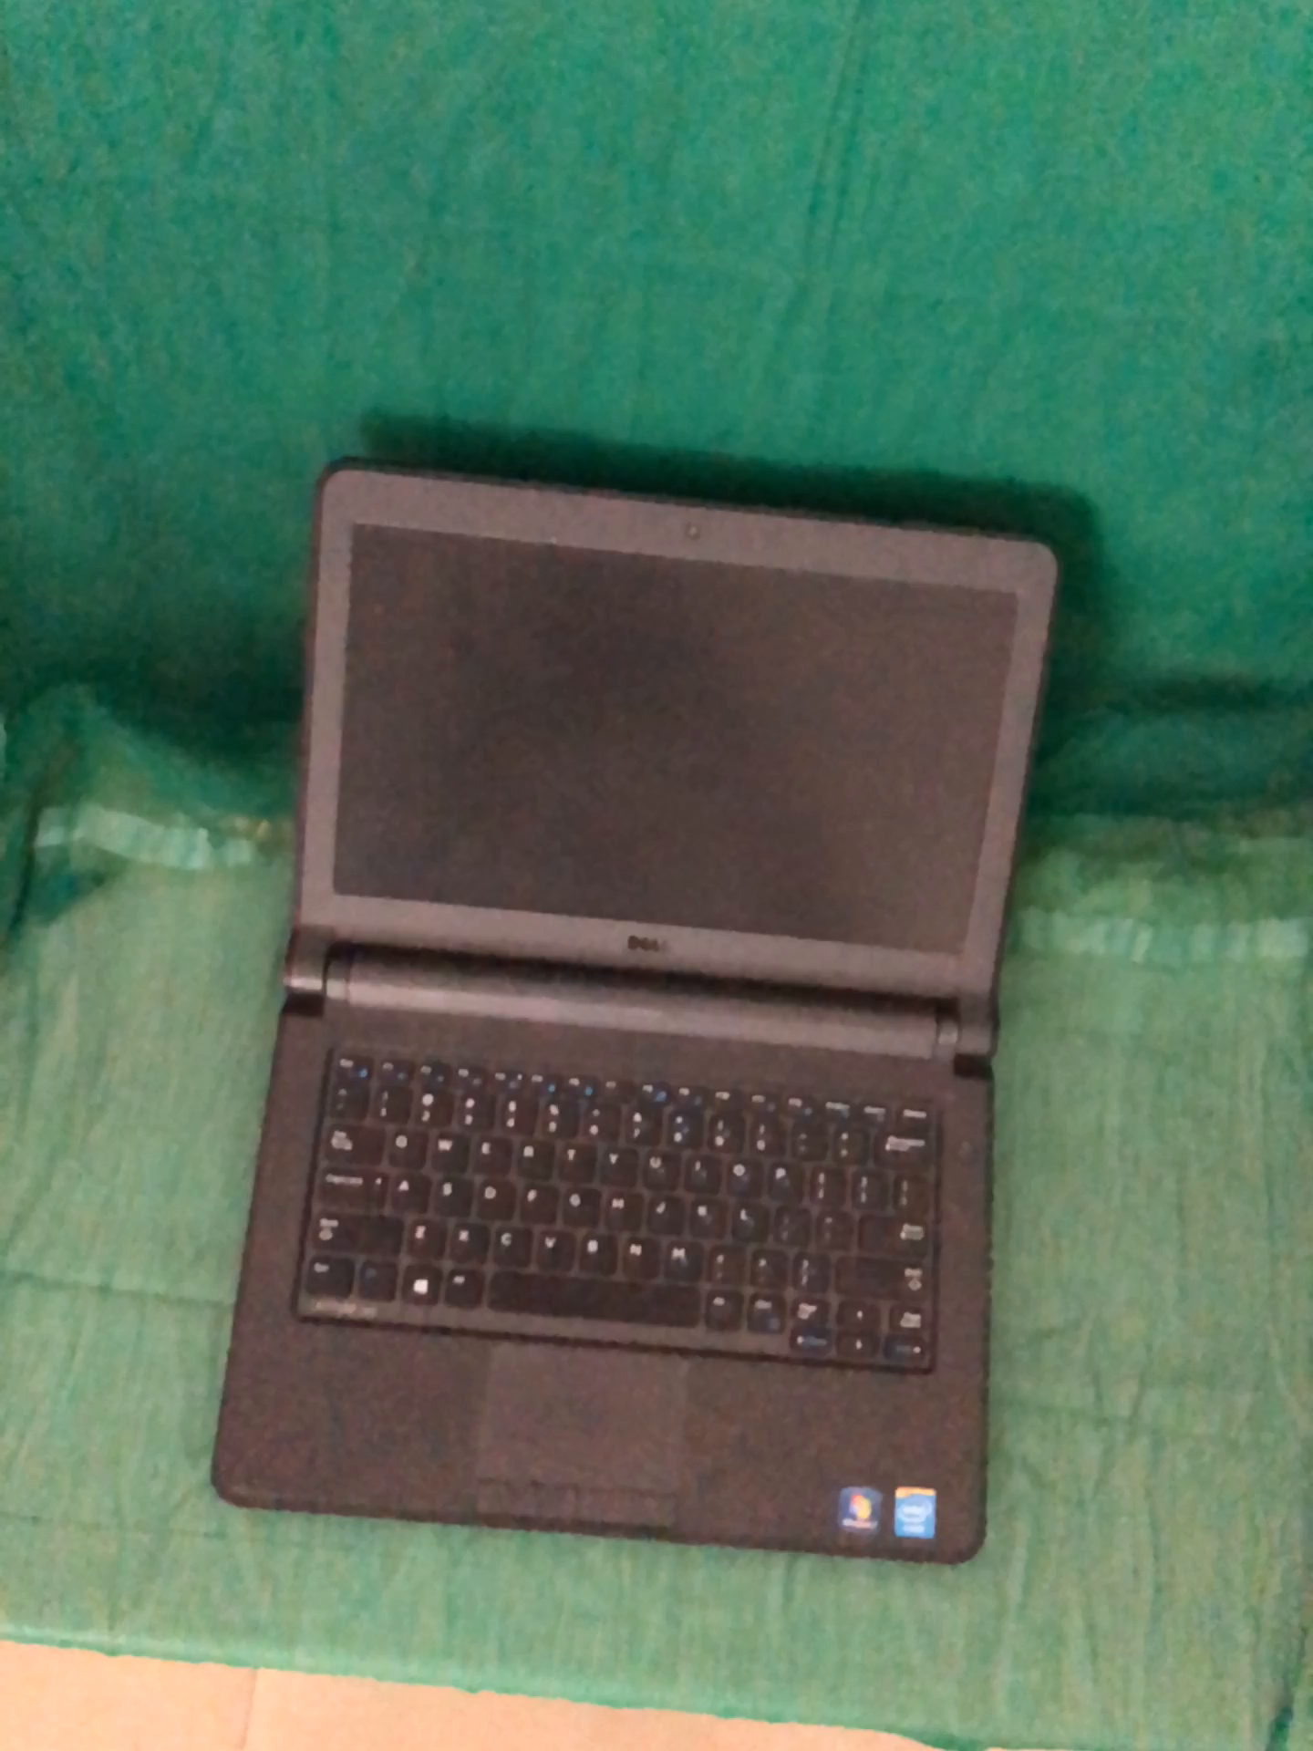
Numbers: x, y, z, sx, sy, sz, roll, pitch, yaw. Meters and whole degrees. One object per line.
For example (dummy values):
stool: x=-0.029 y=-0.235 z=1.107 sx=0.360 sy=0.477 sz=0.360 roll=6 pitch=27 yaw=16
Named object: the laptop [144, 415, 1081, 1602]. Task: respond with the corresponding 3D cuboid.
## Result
laptop: x=-0.003 y=0.047 z=0.589 sx=0.311 sy=0.096 sz=0.420 roll=6 pitch=76 yaw=-2
